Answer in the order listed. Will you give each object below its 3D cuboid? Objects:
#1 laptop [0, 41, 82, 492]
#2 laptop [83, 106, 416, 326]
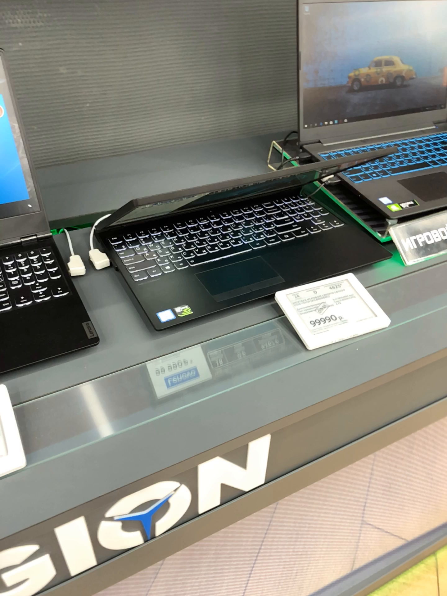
[{"bbox_3d":[-0.370,-0.083,0.501,0.364,0.231,0.308,-16,42,-21],"label":"laptop"},{"bbox_3d":[0.027,-0.133,0.656,0.353,0.136,0.228,-16,42,-22],"label":"laptop"}]
